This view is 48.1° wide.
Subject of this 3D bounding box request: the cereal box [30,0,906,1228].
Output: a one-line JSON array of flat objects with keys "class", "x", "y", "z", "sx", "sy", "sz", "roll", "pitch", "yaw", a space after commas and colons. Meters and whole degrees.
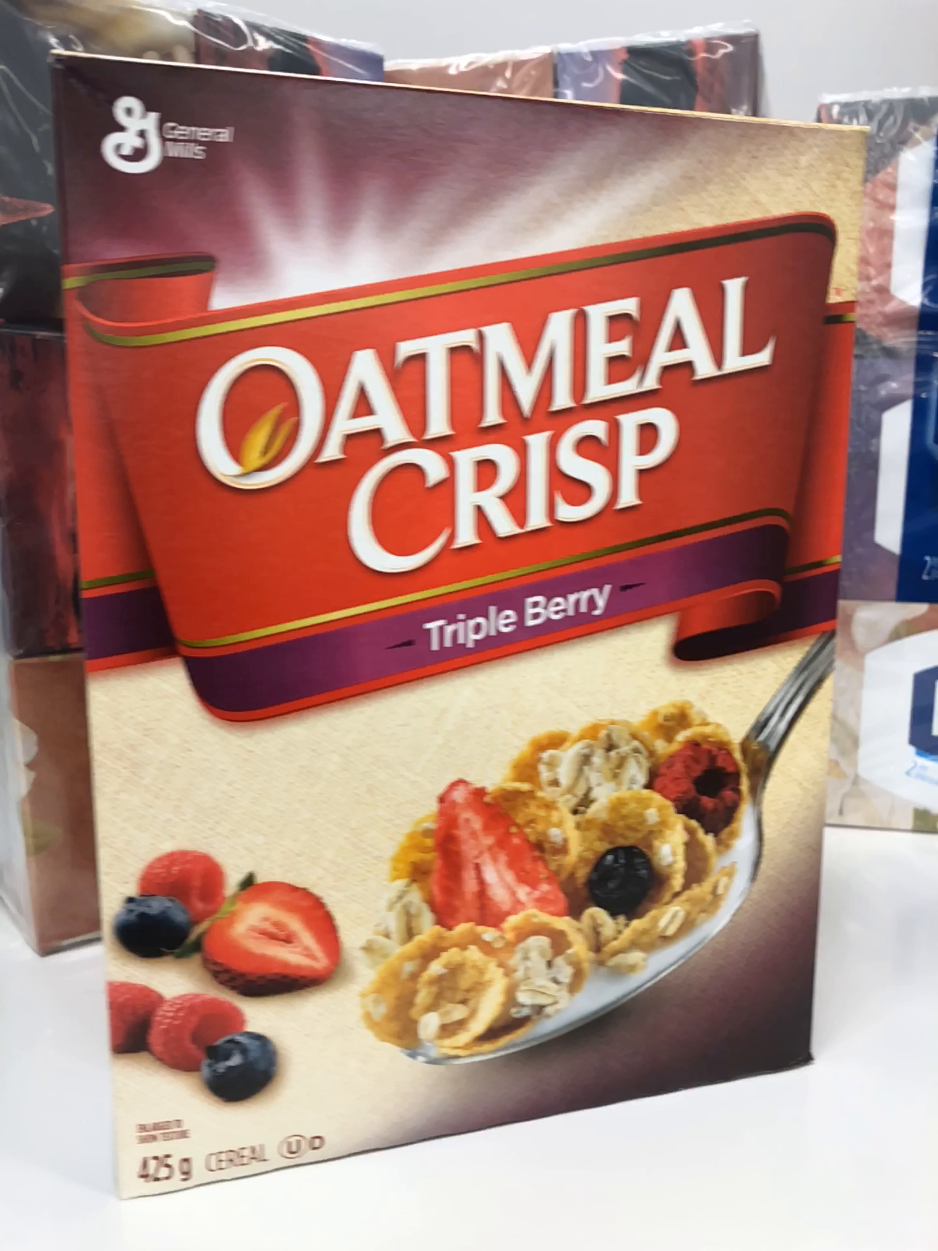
[{"class": "cereal box", "x": 0.003, "y": 0.000, "z": 0.281, "sx": 0.200, "sy": 0.269, "sz": 0.060, "roll": -3, "pitch": 10, "yaw": -16}]
